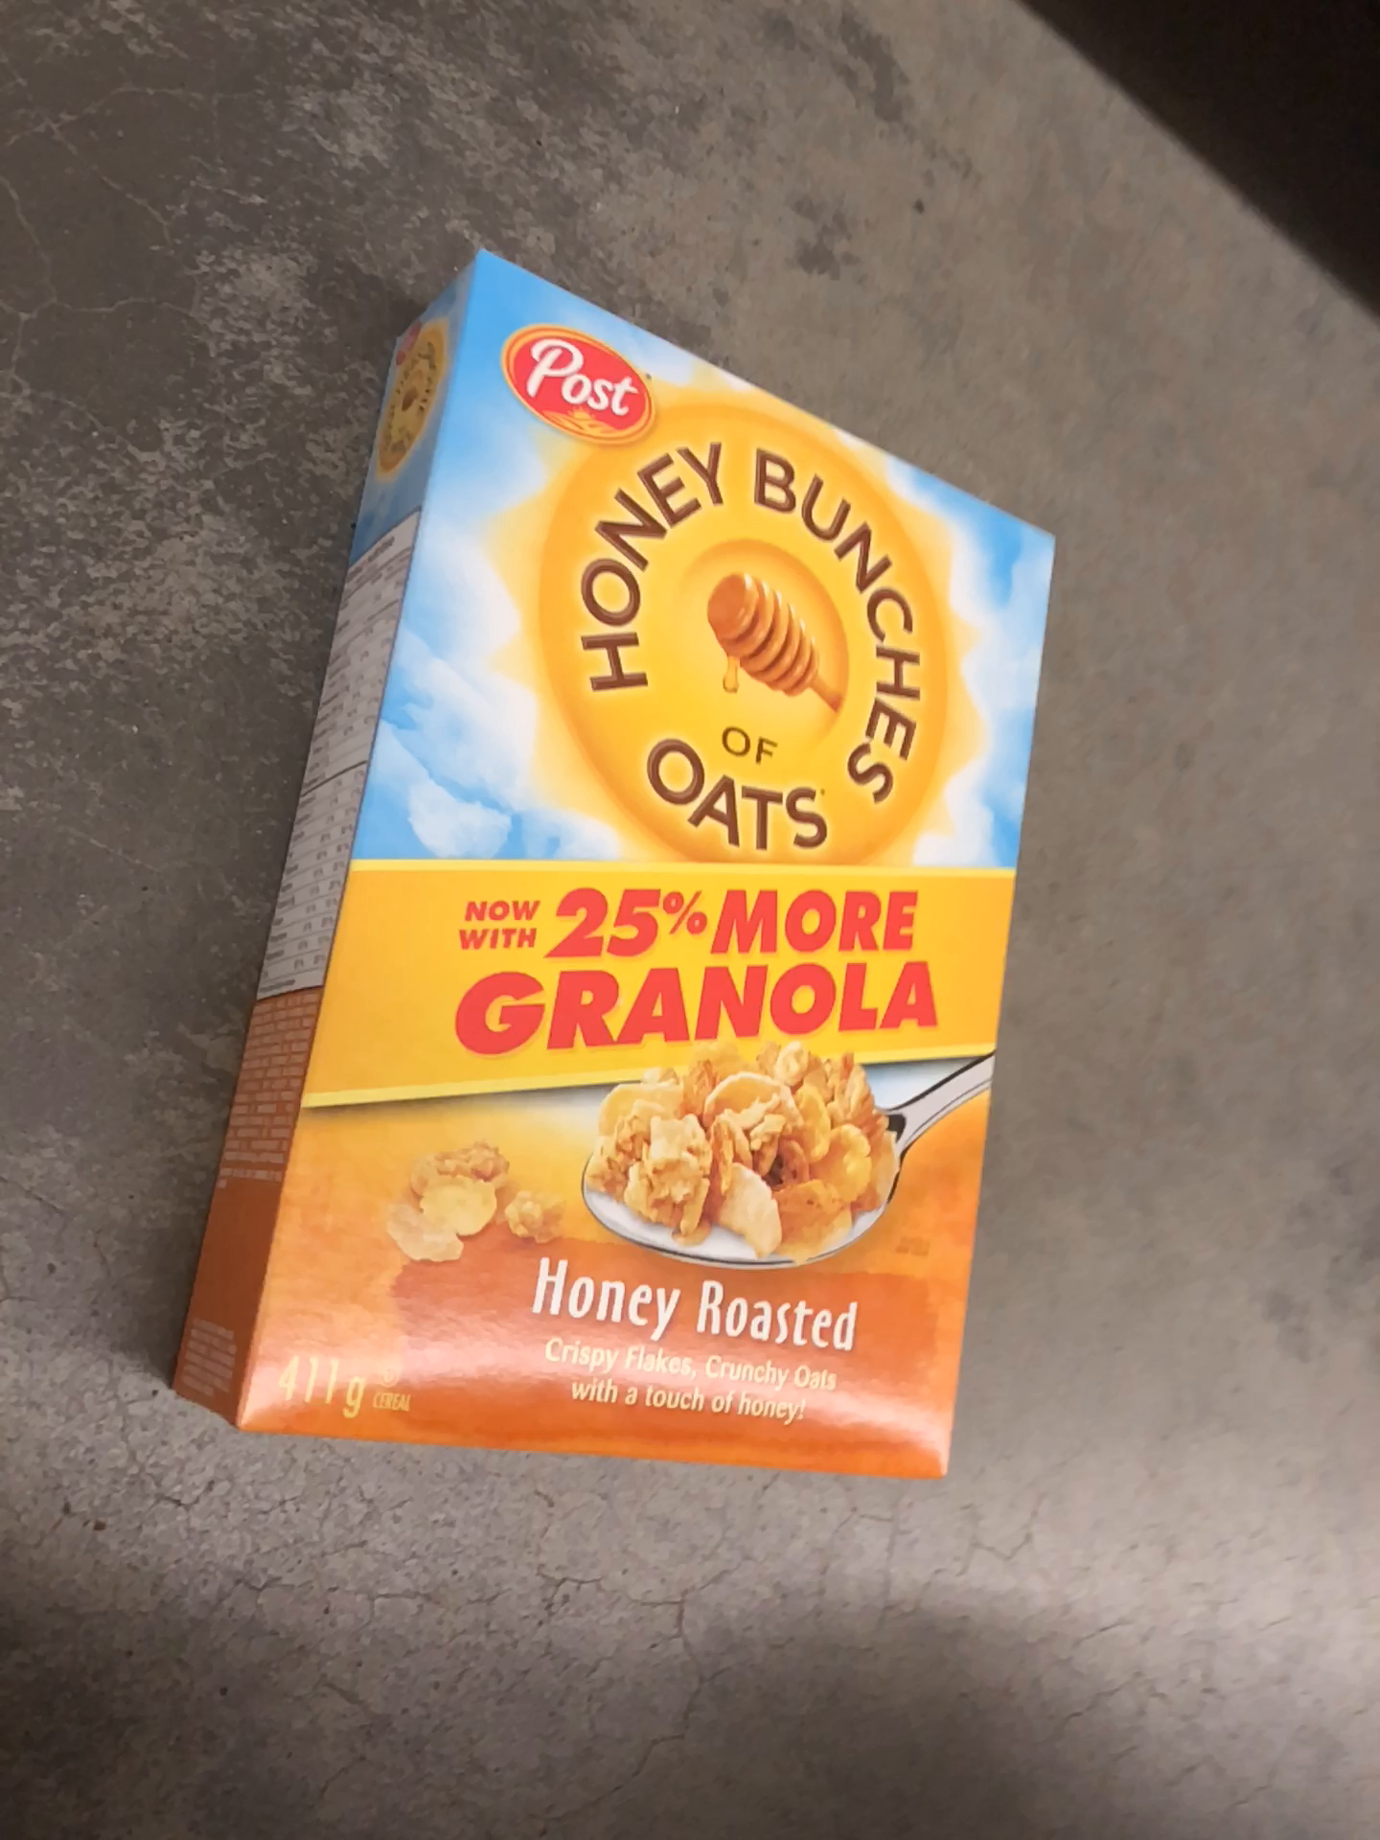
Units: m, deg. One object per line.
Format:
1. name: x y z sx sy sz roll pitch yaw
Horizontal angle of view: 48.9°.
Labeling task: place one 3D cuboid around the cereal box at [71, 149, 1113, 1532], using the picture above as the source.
1. cereal box: -0.004 -0.004 0.386 0.211 0.060 0.280 19 77 -33
